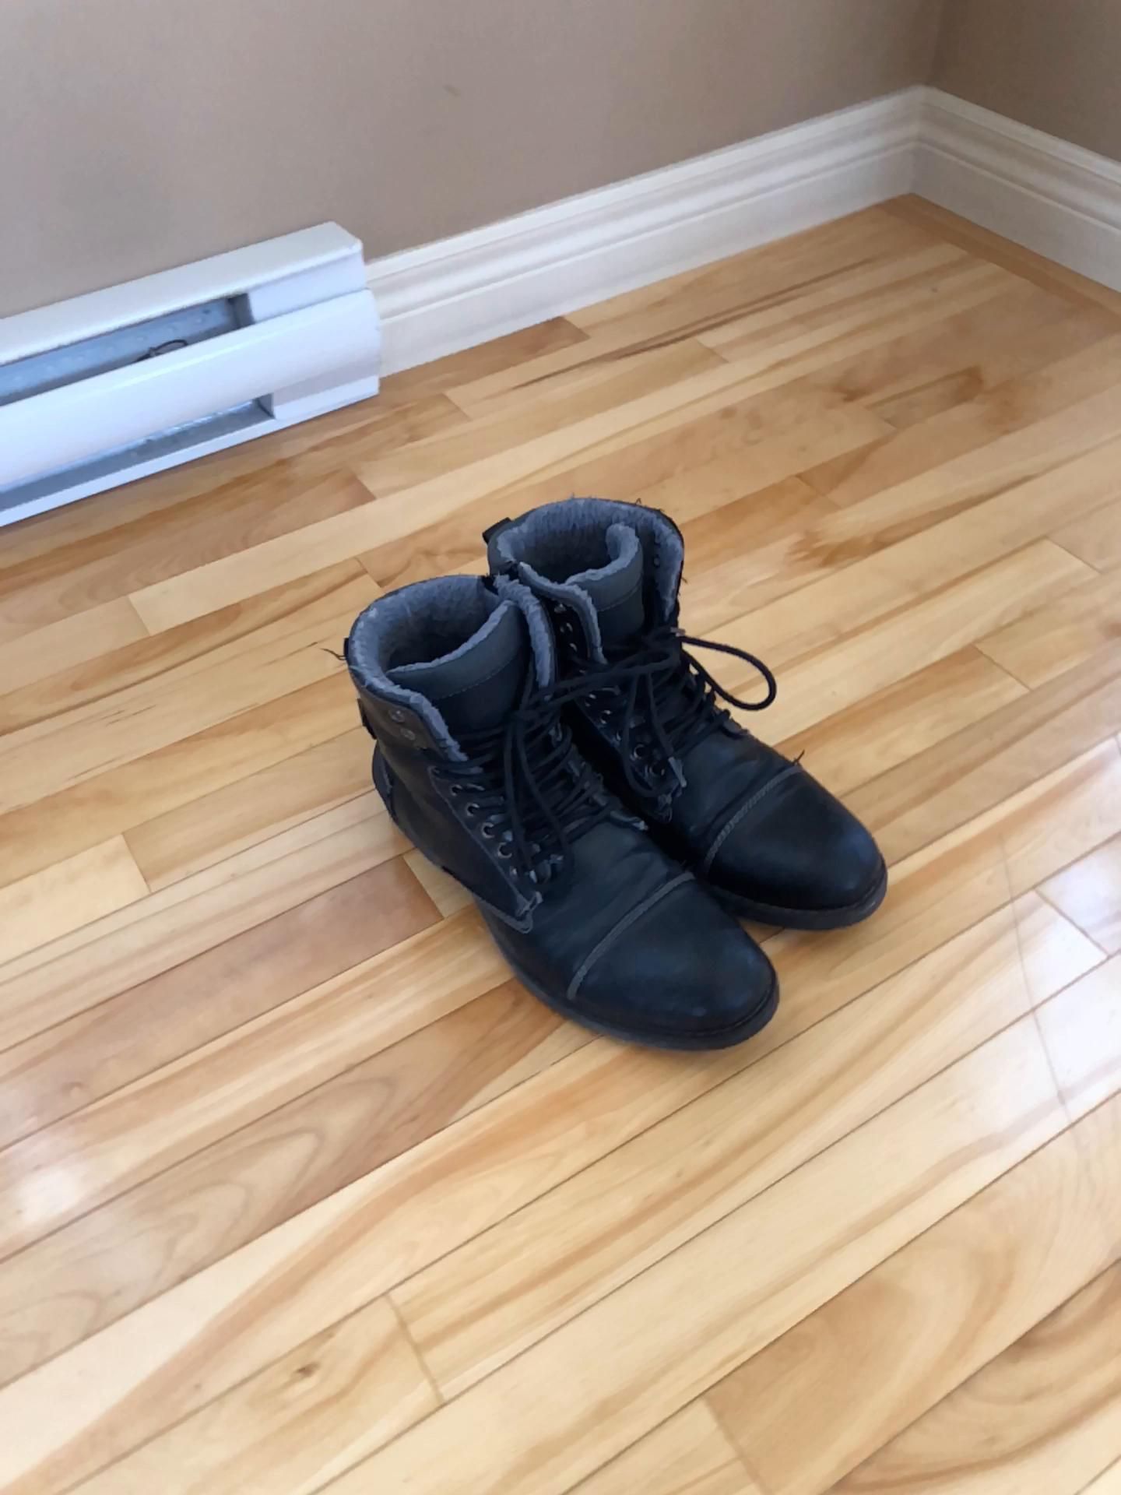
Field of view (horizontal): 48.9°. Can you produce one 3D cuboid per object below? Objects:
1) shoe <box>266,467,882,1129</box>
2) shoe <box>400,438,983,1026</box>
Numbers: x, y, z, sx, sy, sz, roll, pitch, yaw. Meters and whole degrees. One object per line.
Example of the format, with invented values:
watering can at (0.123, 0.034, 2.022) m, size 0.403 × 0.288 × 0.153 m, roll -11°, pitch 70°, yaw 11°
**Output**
shoe at (-0.001, 0.018, 0.648) m, size 0.120 × 0.199 × 0.291 m, roll -36°, pitch 54°, yaw -27°
shoe at (0.063, -0.017, 0.726) m, size 0.301 × 0.199 × 0.120 m, roll 34°, pitch 57°, yaw 30°
